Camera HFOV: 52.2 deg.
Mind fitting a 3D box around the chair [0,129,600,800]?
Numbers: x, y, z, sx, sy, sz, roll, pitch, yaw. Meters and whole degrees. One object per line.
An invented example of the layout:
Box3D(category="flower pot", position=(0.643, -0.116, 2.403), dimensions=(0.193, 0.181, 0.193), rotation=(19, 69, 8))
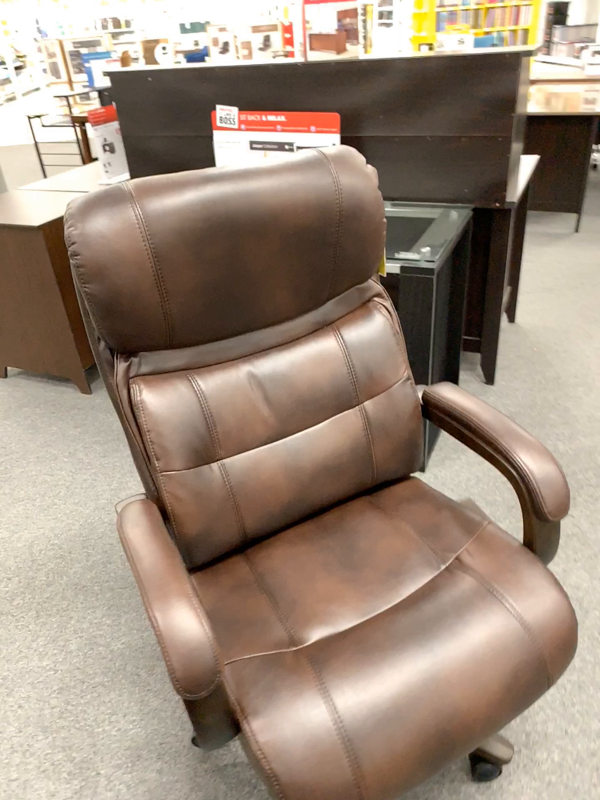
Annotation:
Box3D(category="chair", position=(0.045, 0.202, 1.076), dimensions=(0.710, 1.094, 0.703), rotation=(-20, 35, -22))
